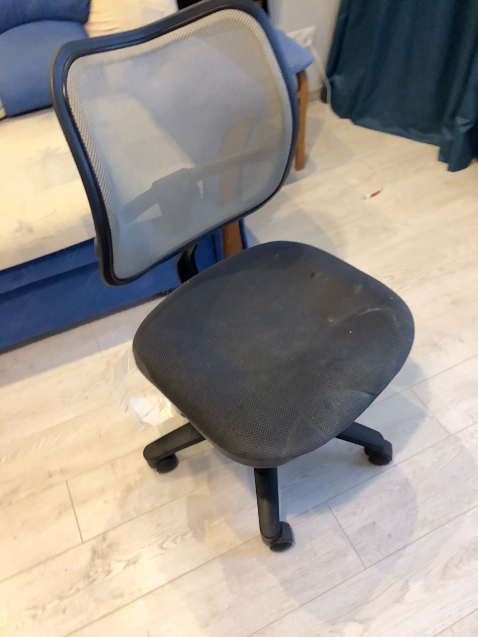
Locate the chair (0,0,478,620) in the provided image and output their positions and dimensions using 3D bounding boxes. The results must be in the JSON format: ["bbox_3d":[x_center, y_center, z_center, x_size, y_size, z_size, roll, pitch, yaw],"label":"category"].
[{"bbox_3d":[0.044,-0.046,0.869,0.662,0.735,0.512,-32,54,-23],"label":"chair"}]
